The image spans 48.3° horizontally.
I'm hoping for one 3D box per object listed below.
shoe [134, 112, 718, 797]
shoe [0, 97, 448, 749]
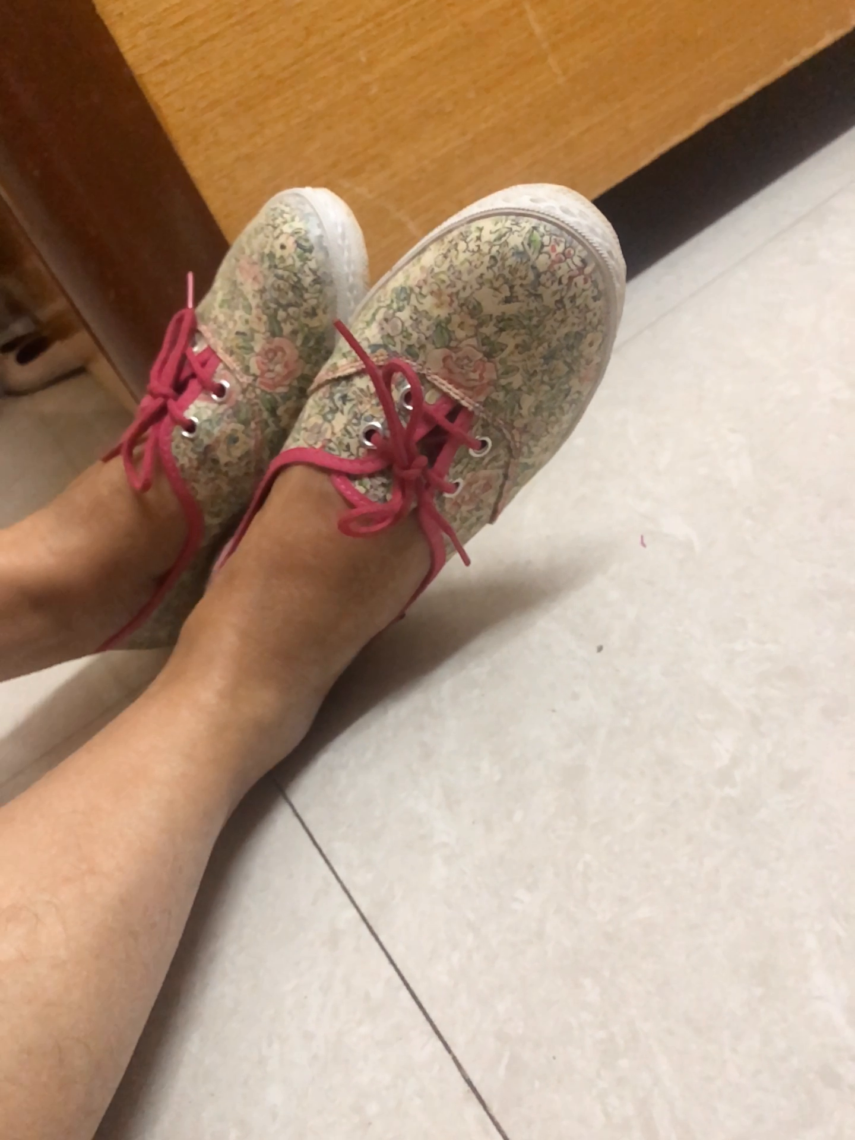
[{"bbox_3d":[-0.014,-0.027,0.369,0.259,0.090,0.070,-51,5,35],"label":"shoe"},{"bbox_3d":[-0.105,-0.045,0.402,0.070,0.090,0.259,-15,-32,-49],"label":"shoe"}]
